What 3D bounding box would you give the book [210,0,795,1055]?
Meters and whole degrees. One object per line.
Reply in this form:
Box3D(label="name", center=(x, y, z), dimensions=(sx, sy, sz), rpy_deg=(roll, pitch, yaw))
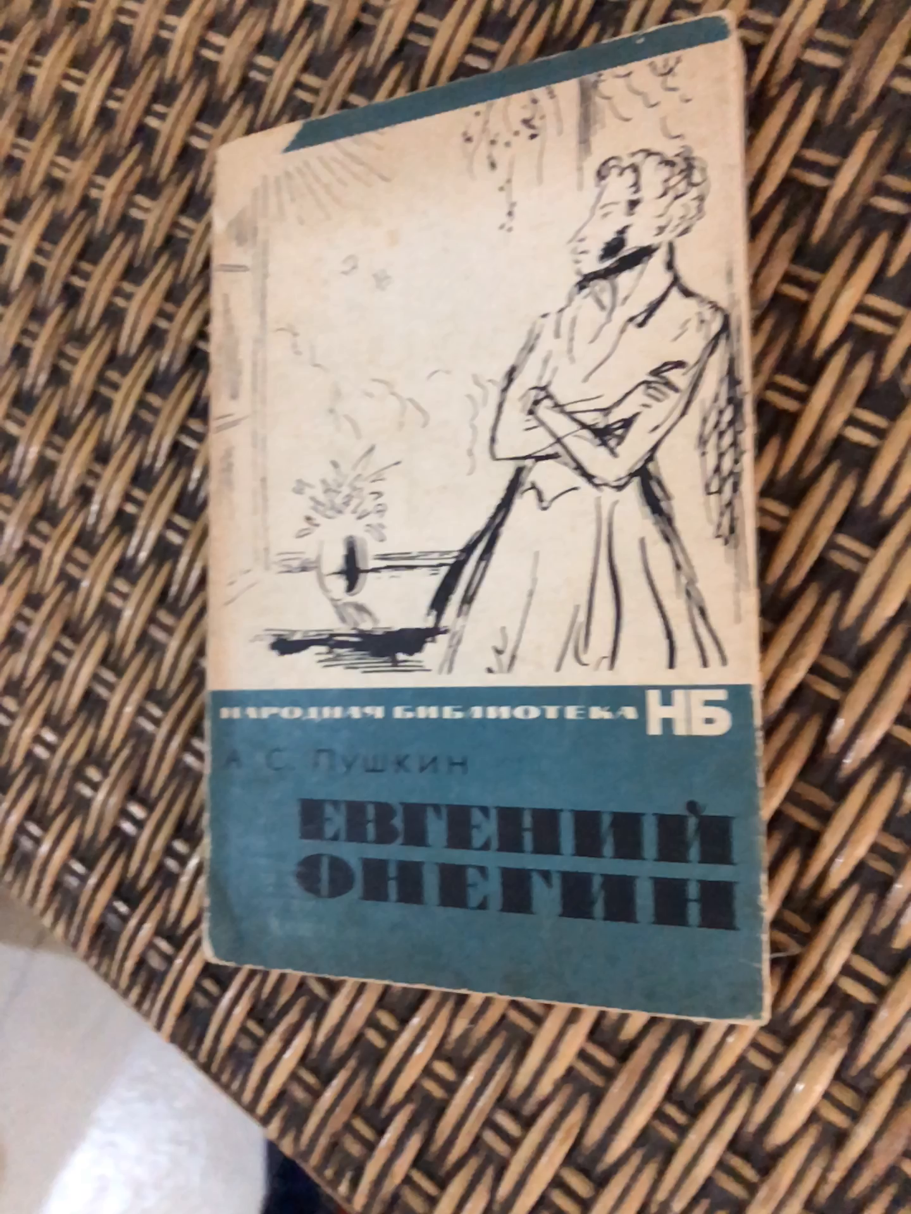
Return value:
Box3D(label="book", center=(0.005, -0.015, 0.215), dimensions=(0.120, 0.020, 0.190), rpy_deg=(-2, 85, 24))
